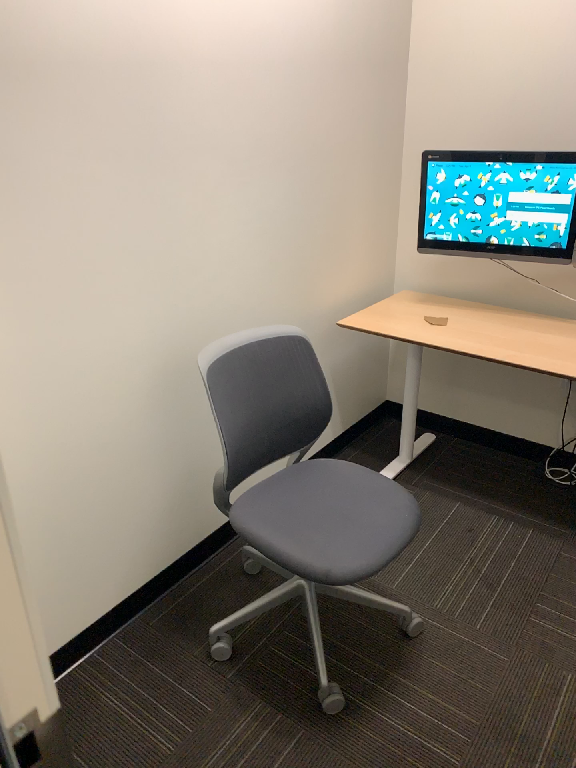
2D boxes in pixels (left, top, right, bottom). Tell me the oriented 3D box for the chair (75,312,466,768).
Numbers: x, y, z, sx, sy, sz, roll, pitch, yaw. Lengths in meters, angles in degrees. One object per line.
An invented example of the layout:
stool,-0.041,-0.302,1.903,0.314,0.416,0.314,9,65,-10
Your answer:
chair,-0.072,0.370,1.885,0.721,0.885,0.903,-22,32,-39
